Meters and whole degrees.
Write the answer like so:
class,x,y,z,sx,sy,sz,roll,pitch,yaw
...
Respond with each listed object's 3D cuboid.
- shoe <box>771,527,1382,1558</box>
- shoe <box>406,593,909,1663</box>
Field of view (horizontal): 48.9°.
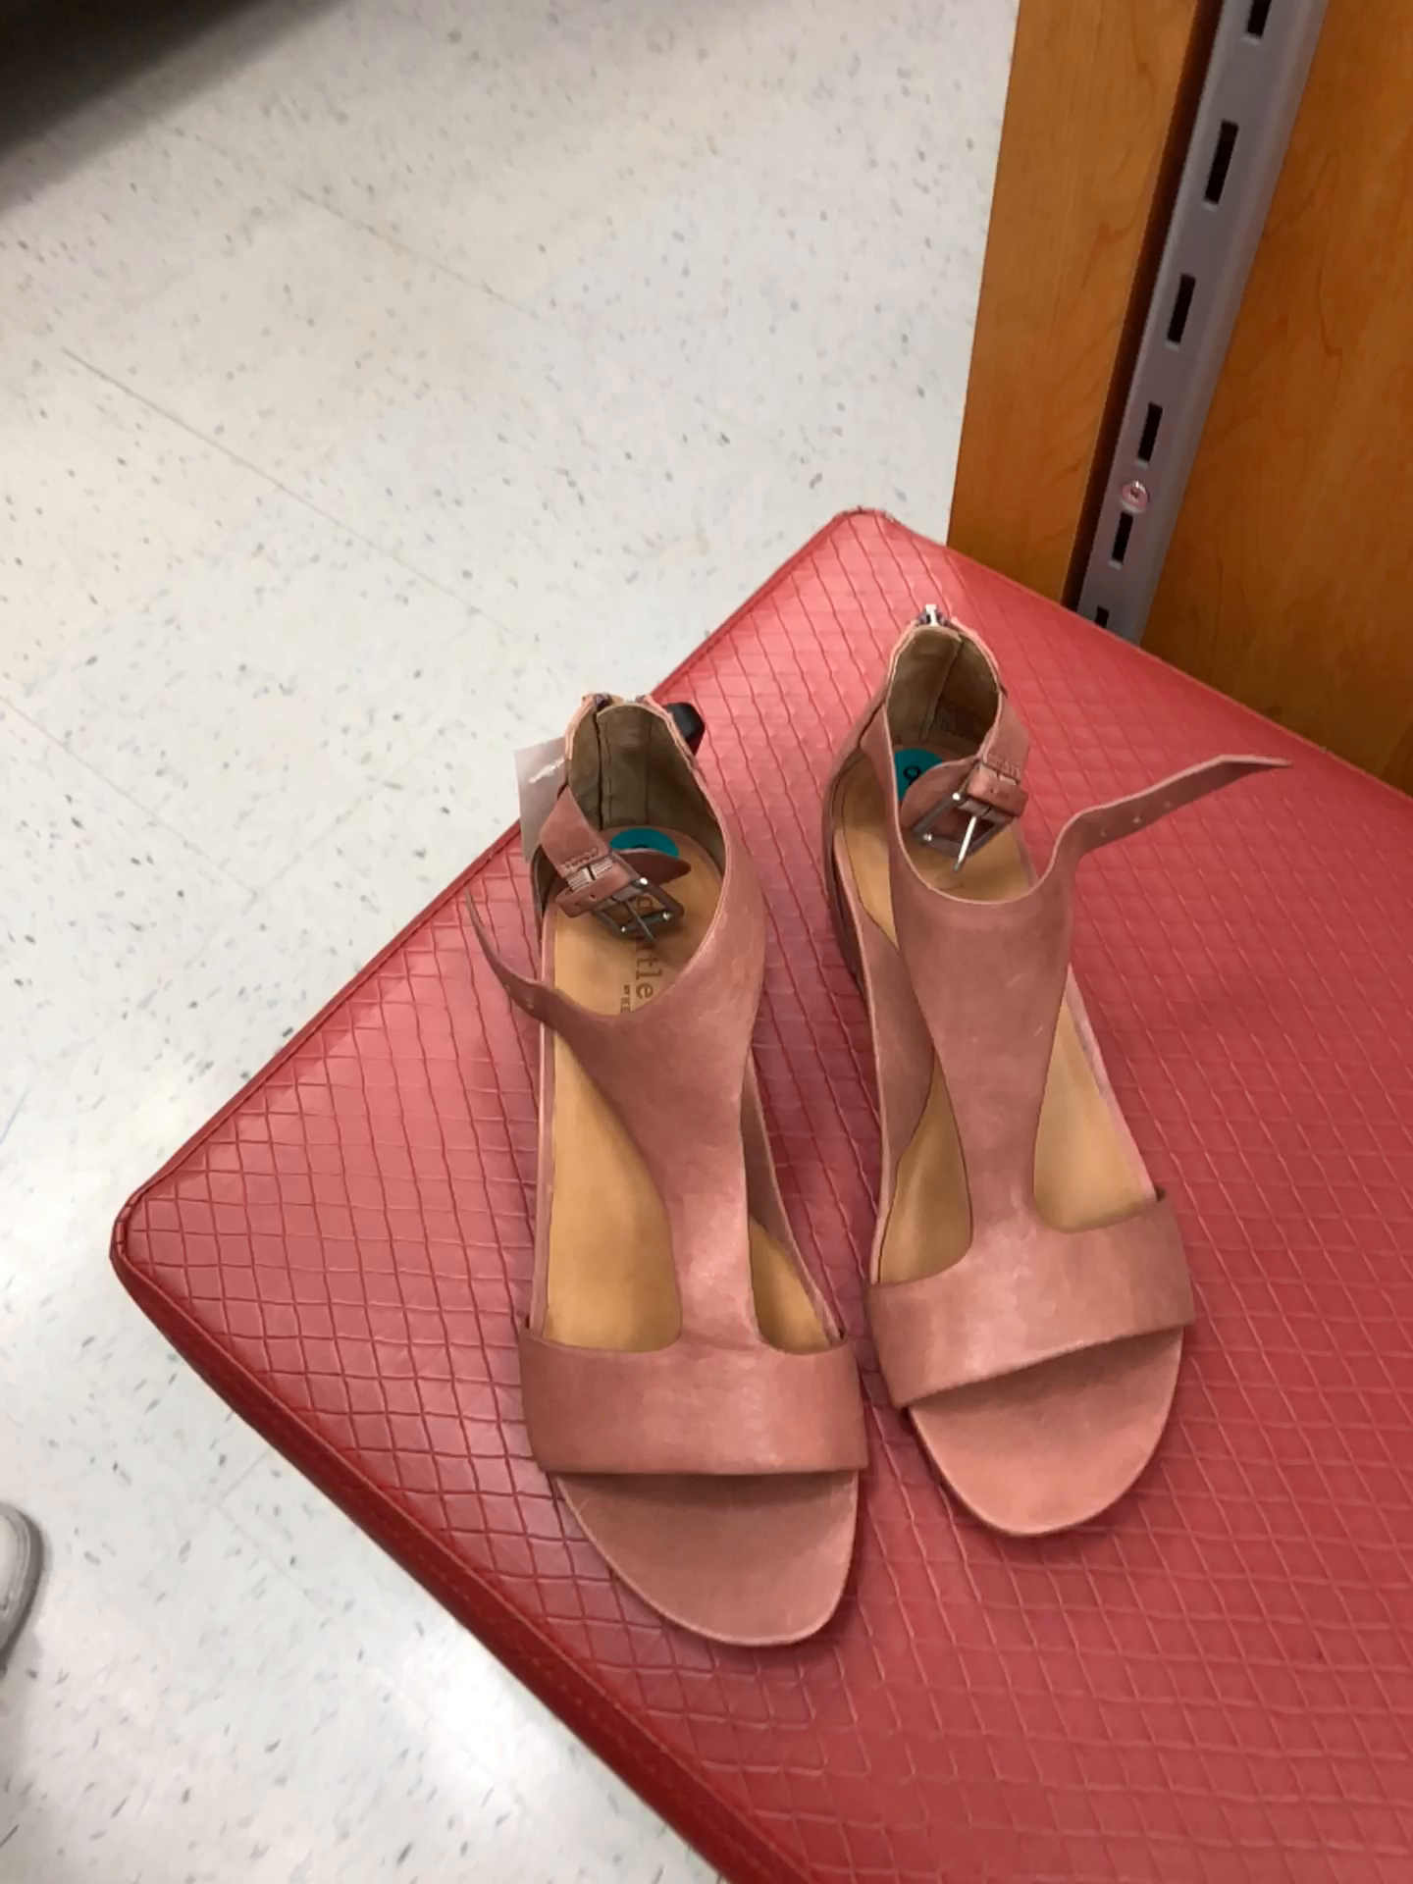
class,x,y,z,sx,sy,sz,roll,pitch,yaw
shoe,0.083,0.023,0.442,0.105,0.116,0.261,-4,60,0
shoe,-0.016,0.048,0.437,0.103,0.126,0.263,-4,60,0
